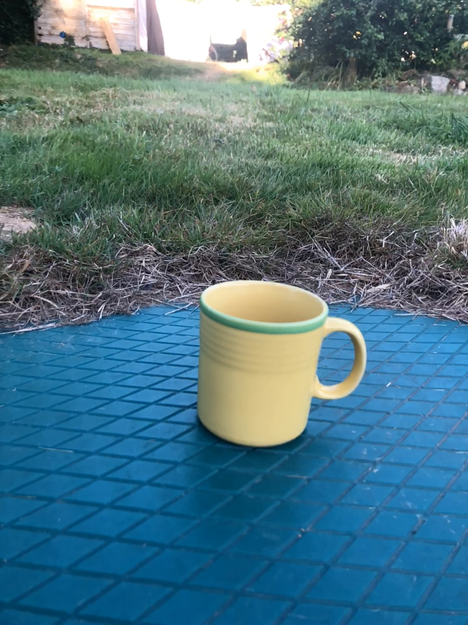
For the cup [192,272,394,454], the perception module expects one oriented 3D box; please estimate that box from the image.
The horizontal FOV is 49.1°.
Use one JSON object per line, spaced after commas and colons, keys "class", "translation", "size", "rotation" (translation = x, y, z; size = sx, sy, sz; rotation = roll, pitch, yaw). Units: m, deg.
{"class": "cup", "translation": [0.032, 0.030, 0.349], "size": [0.115, 0.090, 0.086], "rotation": [2, 21, -2]}
